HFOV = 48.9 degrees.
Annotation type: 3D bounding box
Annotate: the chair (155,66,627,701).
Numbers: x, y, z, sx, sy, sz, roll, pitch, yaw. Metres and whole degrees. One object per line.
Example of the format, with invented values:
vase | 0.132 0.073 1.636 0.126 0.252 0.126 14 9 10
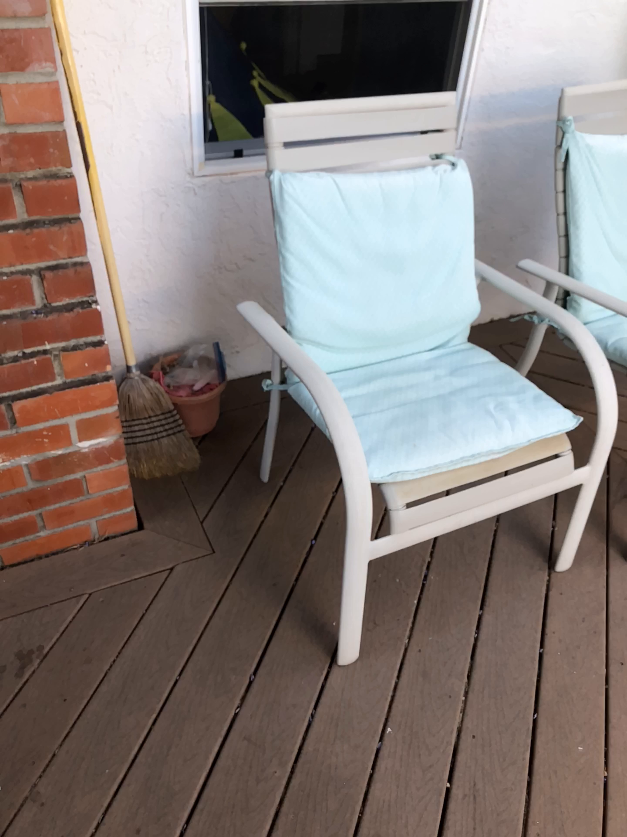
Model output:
chair | 0.170 -0.150 1.648 0.741 0.994 0.974 -16 45 -23
